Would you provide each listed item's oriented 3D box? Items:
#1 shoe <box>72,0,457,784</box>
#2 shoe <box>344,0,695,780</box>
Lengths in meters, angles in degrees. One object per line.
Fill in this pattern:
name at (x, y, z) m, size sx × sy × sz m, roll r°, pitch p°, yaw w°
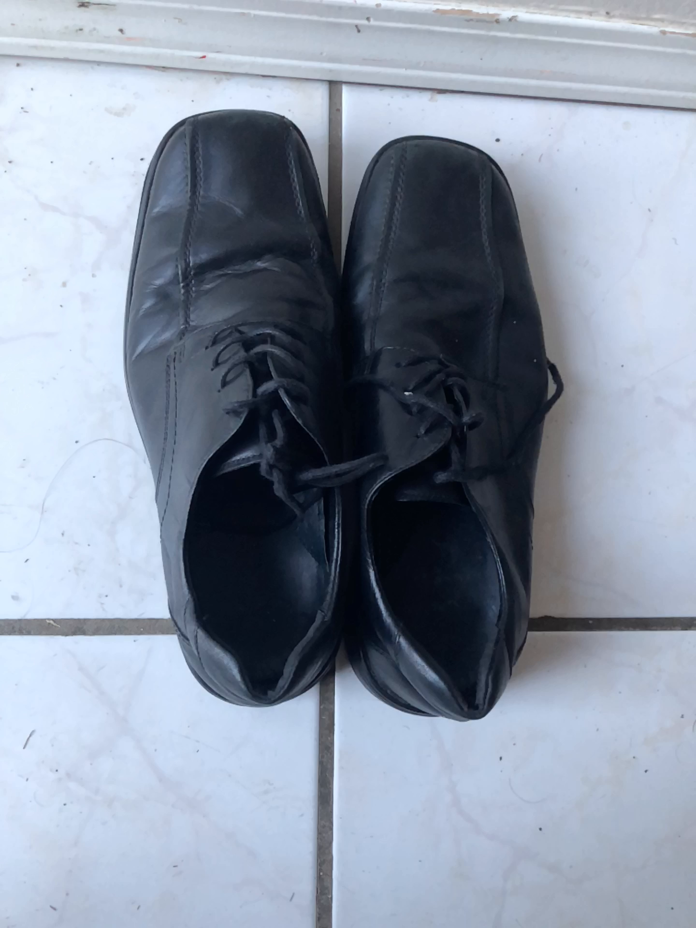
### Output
shoe at (-0.038, -0.035, 0.329) m, size 0.120 × 0.100 × 0.290 m, roll -4°, pitch 85°, yaw -7°
shoe at (0.061, -0.032, 0.332) m, size 0.110 × 0.100 × 0.290 m, roll 0°, pitch 85°, yaw -7°
